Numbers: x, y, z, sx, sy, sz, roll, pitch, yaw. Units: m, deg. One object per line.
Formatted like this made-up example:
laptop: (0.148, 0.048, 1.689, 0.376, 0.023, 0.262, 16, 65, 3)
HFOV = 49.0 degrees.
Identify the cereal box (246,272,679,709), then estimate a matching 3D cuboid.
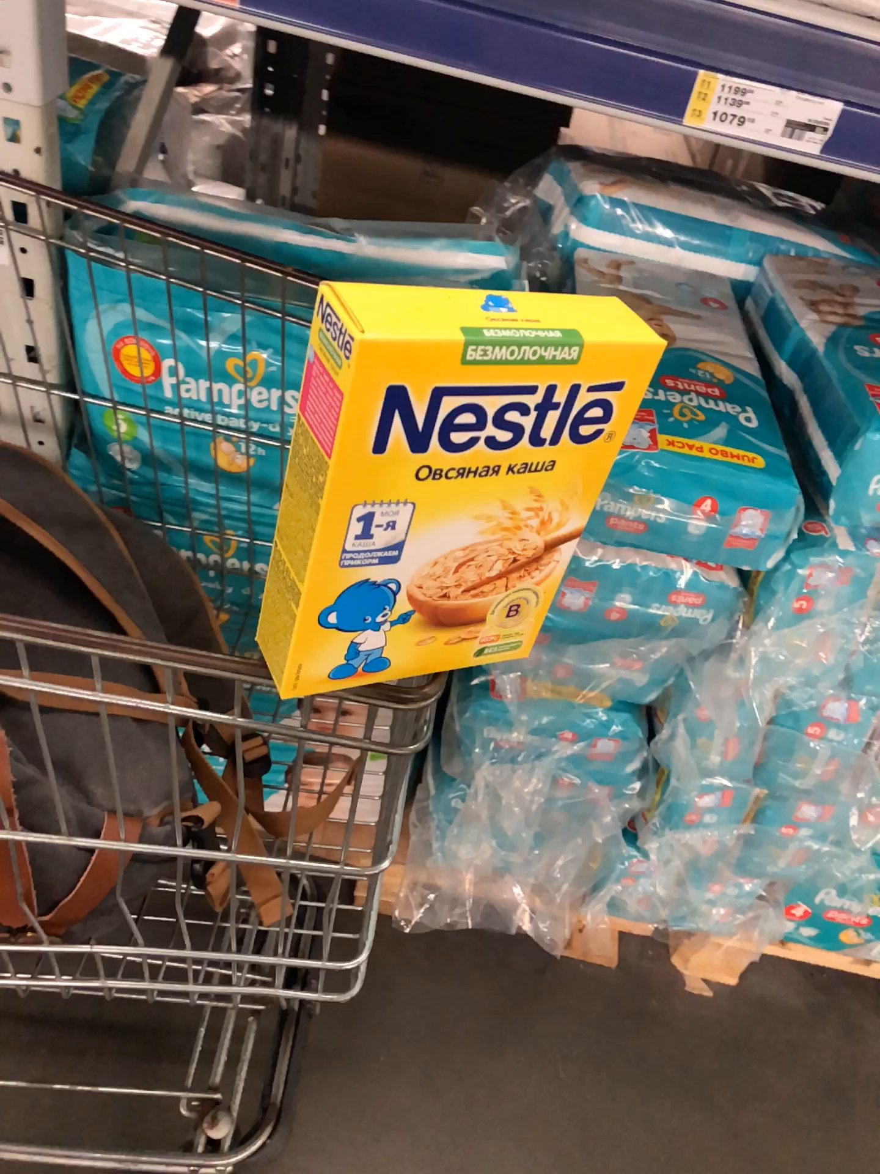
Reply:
cereal box: (0.002, -0.038, 0.444, 0.150, 0.199, 0.040, -7, 45, -29)
